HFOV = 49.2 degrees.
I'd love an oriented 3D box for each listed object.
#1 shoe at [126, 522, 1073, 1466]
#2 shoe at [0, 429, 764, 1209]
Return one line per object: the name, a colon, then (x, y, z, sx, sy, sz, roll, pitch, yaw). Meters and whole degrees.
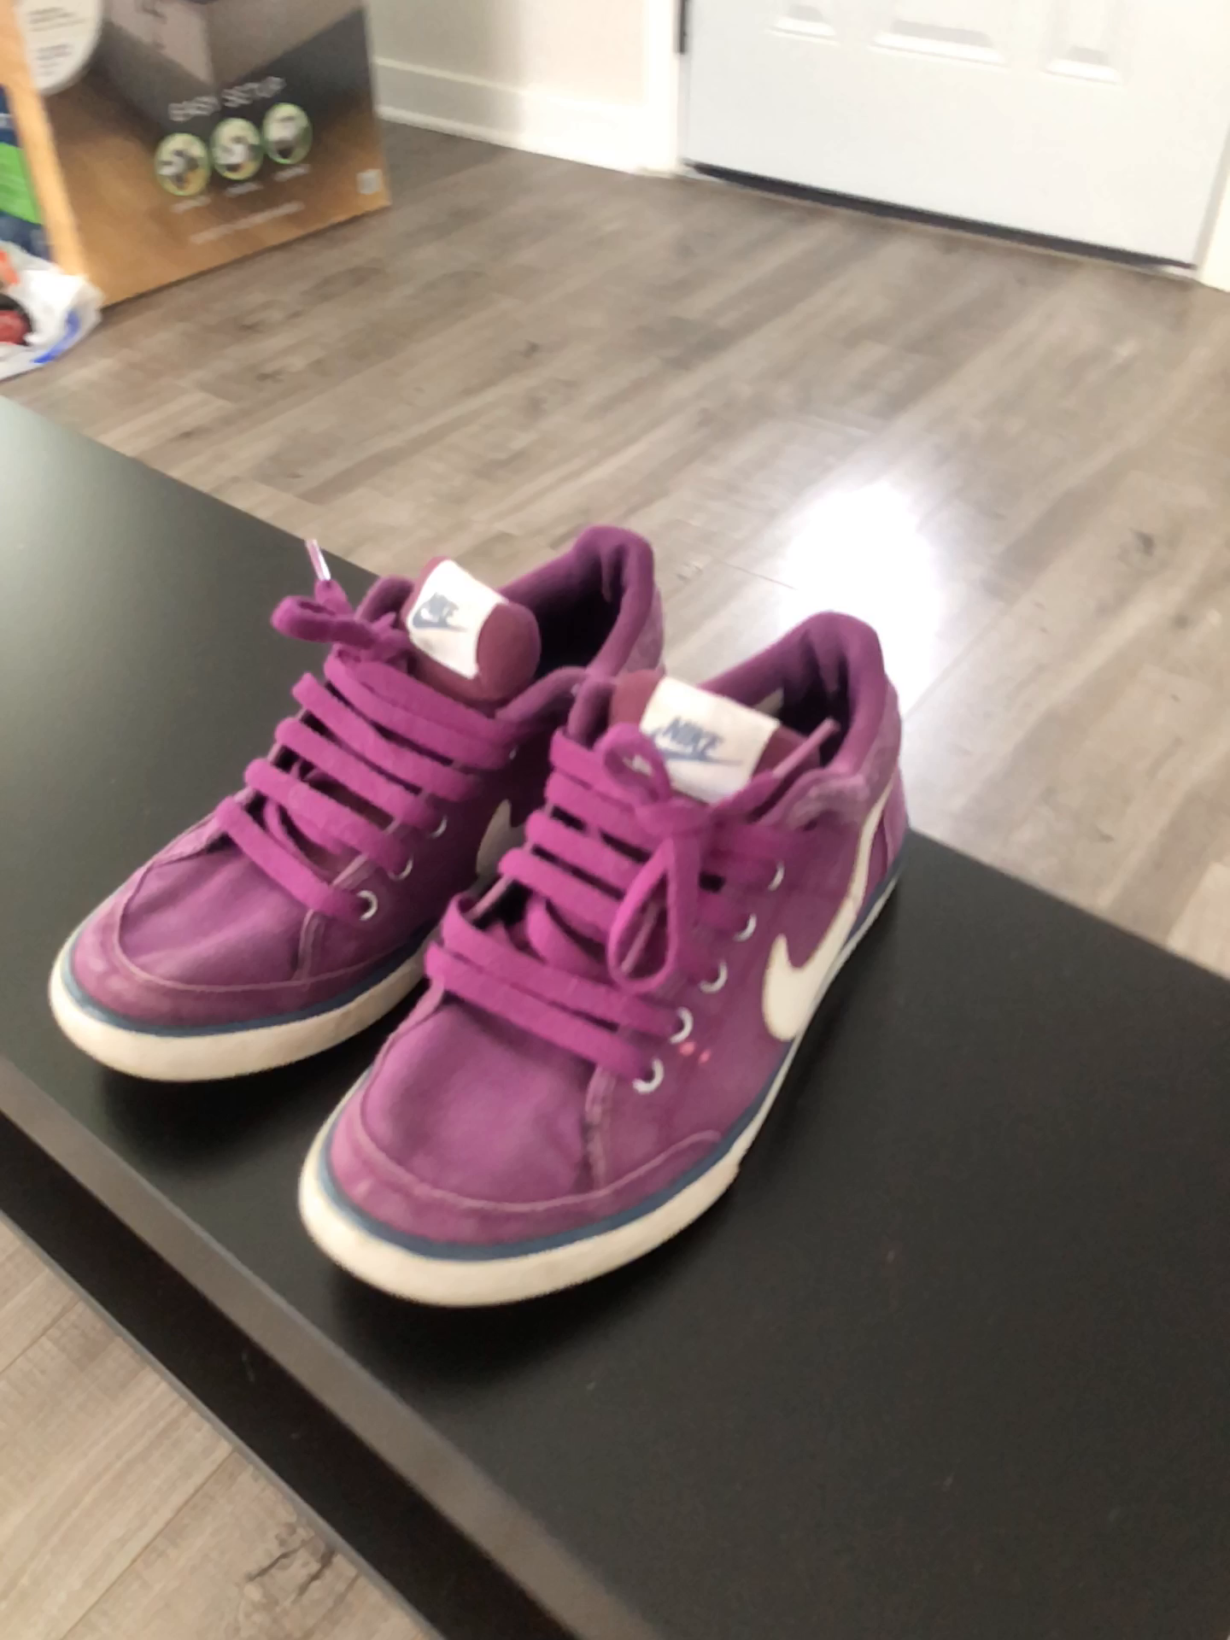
shoe: (0.013, 0.026, 0.373, 0.100, 0.100, 0.250, 29, 50, 29)
shoe: (-0.068, -0.017, 0.414, 0.100, 0.100, 0.240, 29, 50, 29)
